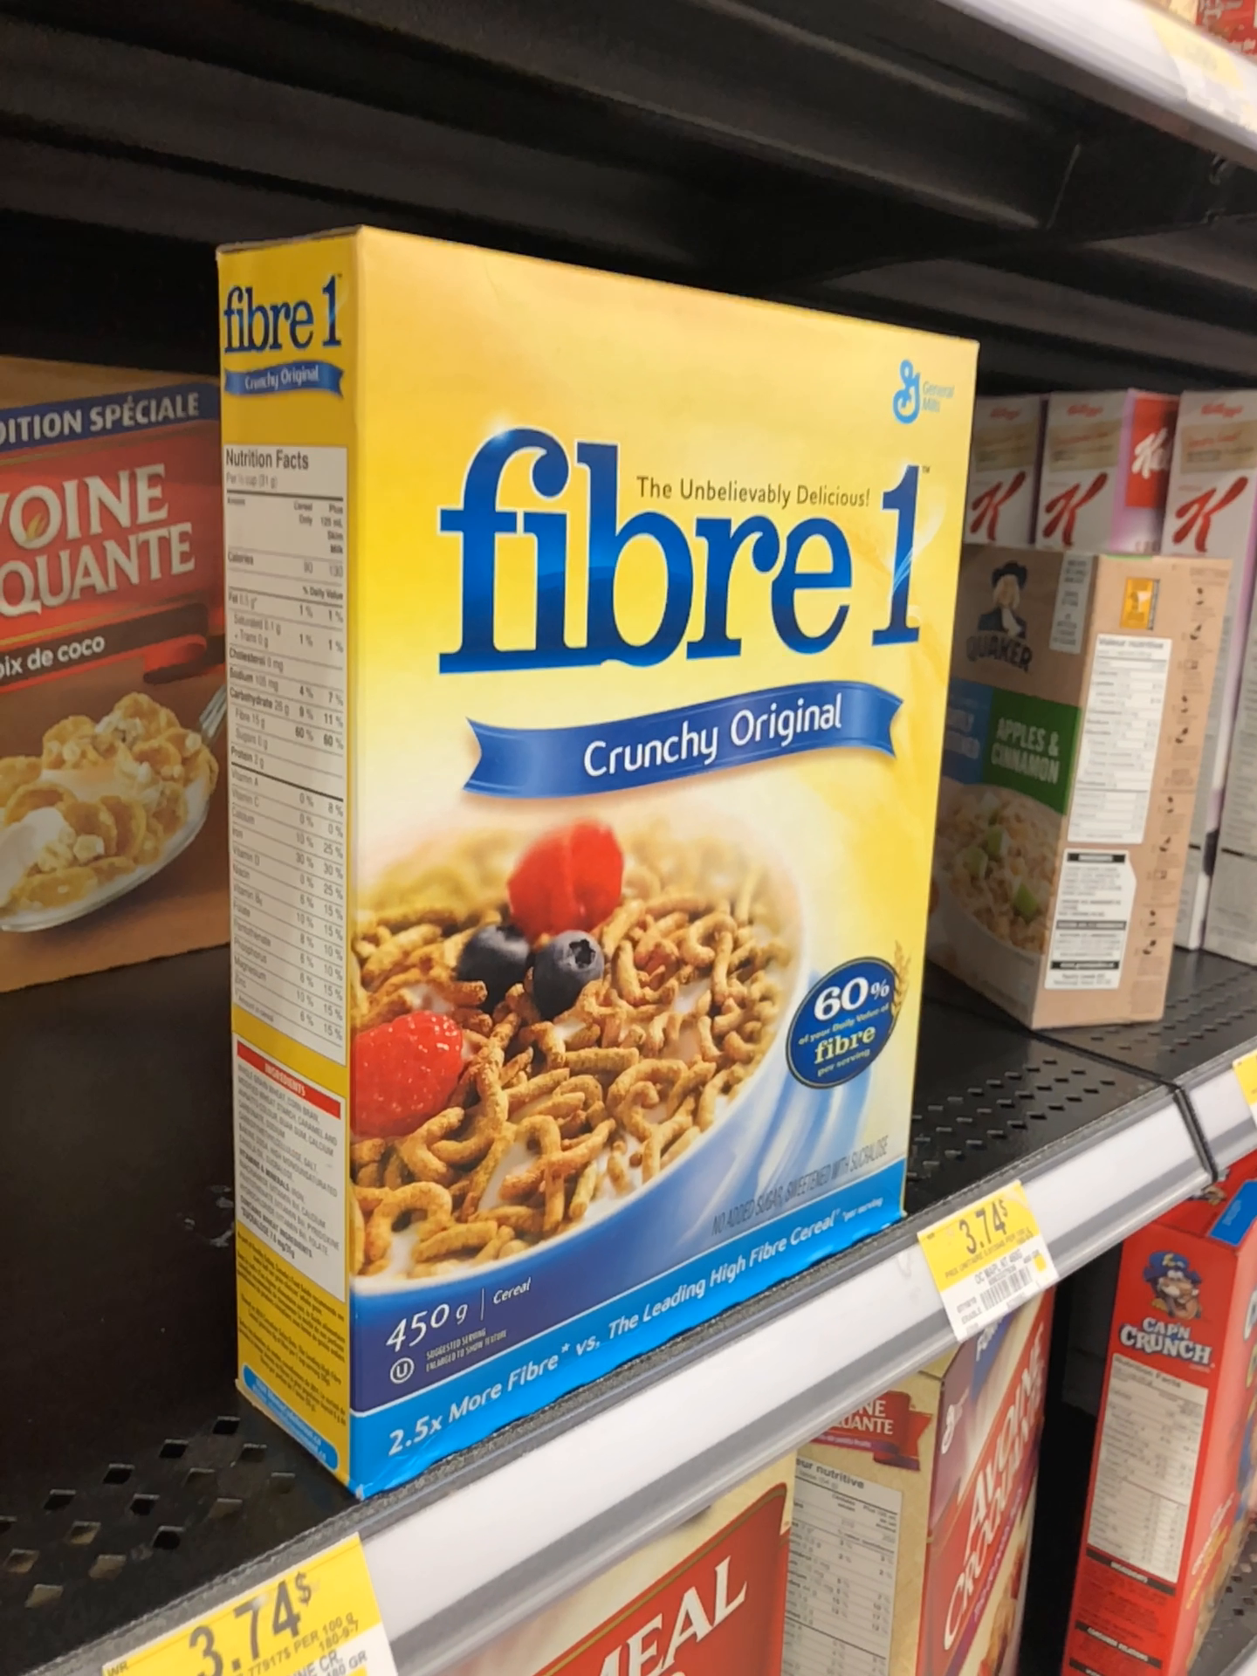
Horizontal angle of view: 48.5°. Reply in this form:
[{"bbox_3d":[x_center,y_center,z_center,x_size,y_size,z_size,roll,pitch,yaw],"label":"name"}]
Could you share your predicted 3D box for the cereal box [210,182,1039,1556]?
[{"bbox_3d":[0.007,0.001,0.343,0.200,0.259,0.060,-9,18,-42],"label":"cereal box"}]
